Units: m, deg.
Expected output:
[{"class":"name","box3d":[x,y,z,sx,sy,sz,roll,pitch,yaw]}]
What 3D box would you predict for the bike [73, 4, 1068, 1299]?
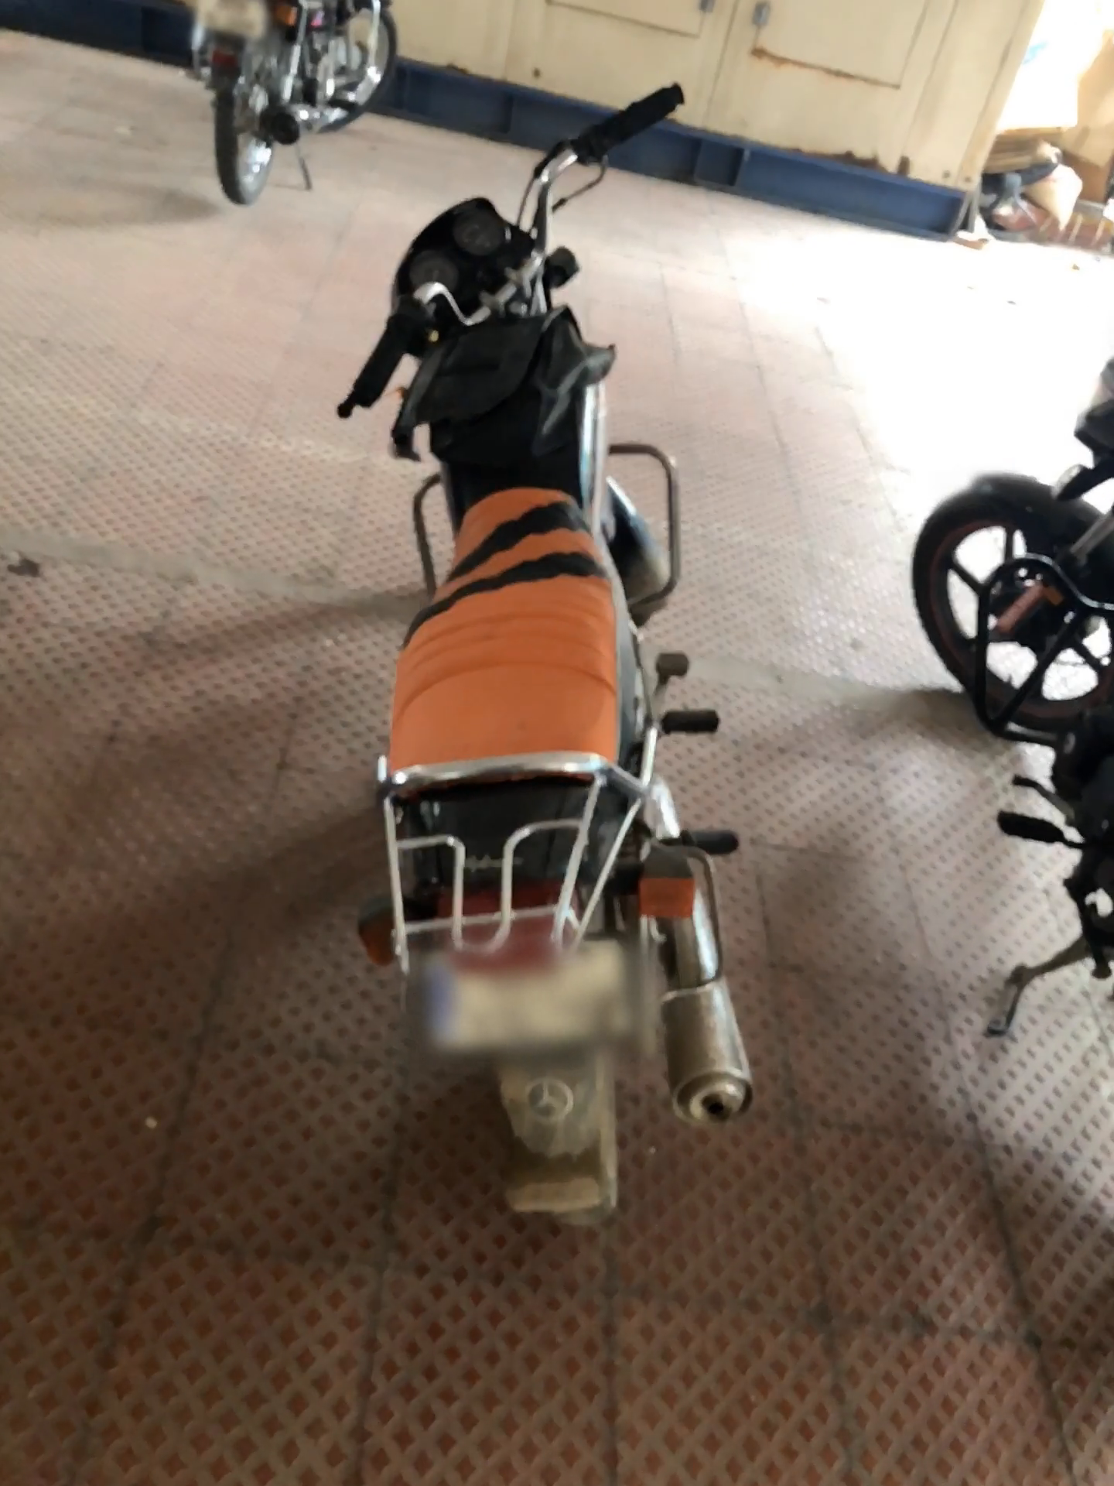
[{"class":"bike","box3d":[-0.166,-0.198,1.725,0.688,1.123,1.410,6,39,-12]}]
